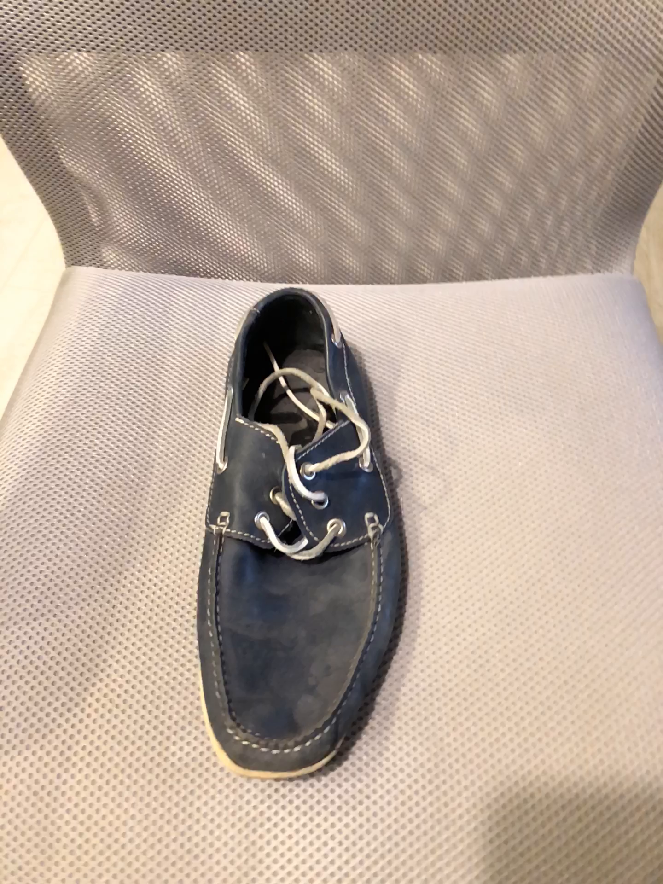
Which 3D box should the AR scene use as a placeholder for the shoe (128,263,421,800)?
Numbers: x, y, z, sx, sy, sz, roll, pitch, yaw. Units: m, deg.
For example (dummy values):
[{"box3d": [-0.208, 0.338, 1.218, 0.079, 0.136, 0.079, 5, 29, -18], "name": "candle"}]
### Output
[{"box3d": [-0.019, 0.037, 0.418, 0.120, 0.099, 0.292, 0, 57, 2], "name": "shoe"}]
